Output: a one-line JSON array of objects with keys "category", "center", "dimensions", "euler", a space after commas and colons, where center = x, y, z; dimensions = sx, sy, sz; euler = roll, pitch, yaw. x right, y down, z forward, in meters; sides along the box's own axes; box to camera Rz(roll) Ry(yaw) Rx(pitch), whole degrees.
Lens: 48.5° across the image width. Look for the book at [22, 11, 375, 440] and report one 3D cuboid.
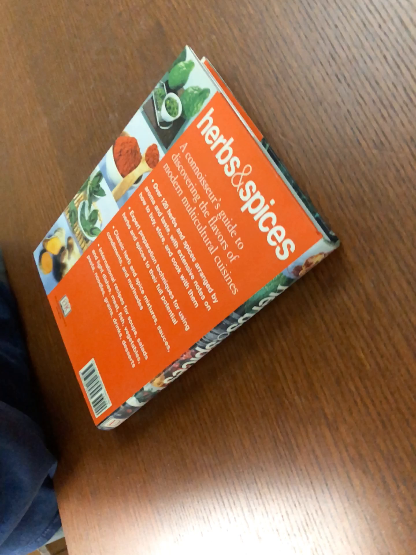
[{"category": "book", "center": [-0.044, -0.028, 0.374], "dimensions": [0.270, 0.040, 0.210], "euler": [-42, 62, 30]}]
